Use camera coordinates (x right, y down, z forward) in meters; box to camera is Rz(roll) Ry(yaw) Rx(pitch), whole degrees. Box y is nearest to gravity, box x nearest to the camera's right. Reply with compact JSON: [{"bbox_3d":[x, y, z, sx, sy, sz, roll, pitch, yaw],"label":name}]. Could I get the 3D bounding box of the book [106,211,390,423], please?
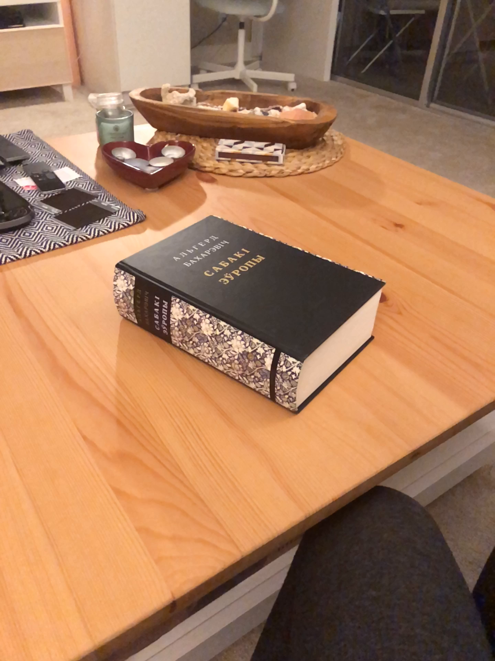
[{"bbox_3d":[-0.001,-0.029,0.551,0.229,0.061,0.158,28,45,27],"label":"book"}]
